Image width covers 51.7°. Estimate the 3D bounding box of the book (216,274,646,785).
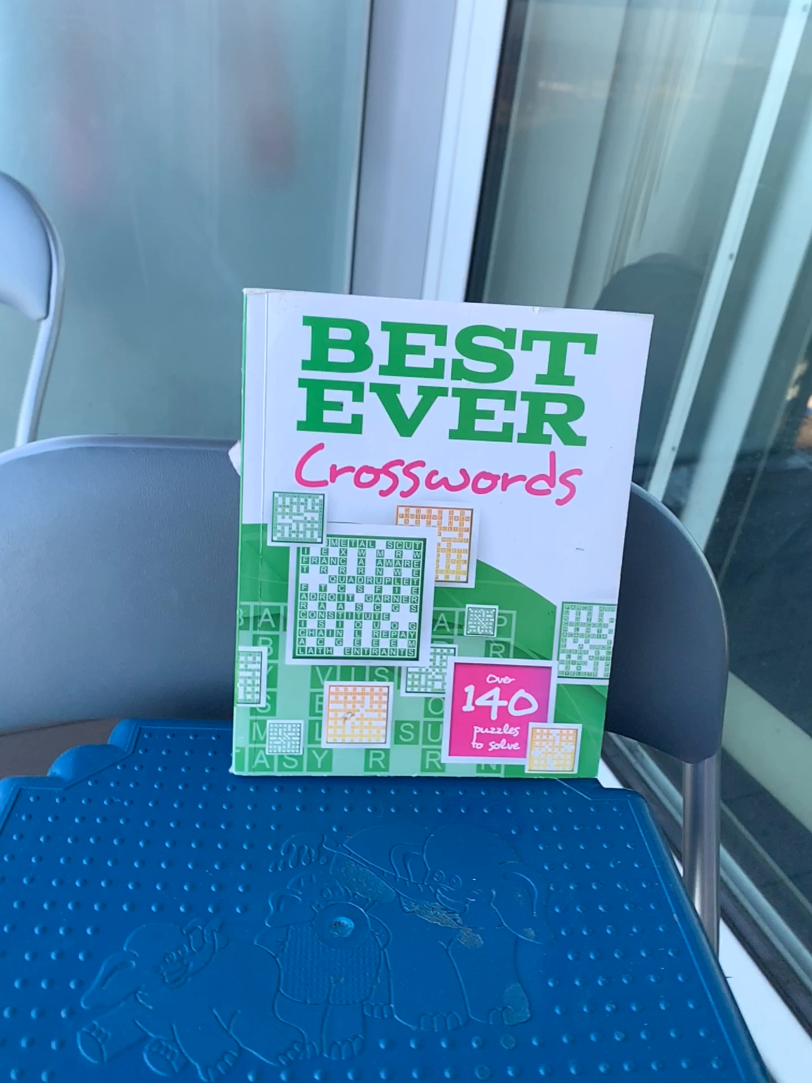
[{"bbox_3d":[0.007,0.001,0.343,0.157,0.196,0.030,2,10,-8],"label":"book"}]
